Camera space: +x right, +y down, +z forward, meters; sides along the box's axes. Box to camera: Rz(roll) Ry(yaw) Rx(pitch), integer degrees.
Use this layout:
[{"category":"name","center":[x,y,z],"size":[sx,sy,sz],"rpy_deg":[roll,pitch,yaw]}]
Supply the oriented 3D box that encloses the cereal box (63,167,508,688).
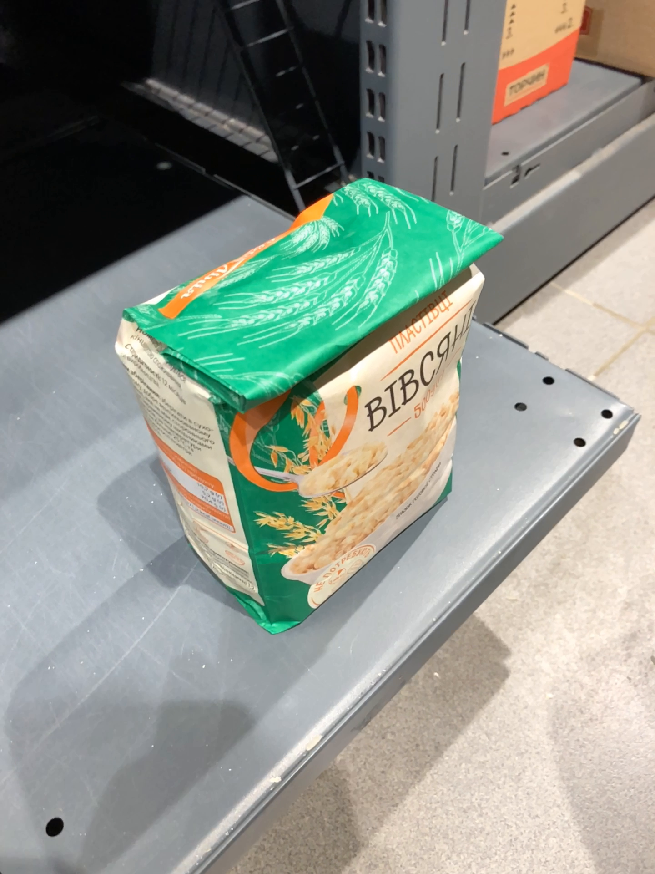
[{"category":"cereal box","center":[-0.007,-0.001,0.273],"size":[0.070,0.139,0.121],"rpy_deg":[35,59,29]}]
